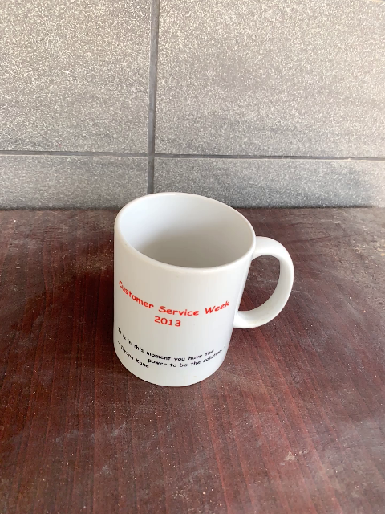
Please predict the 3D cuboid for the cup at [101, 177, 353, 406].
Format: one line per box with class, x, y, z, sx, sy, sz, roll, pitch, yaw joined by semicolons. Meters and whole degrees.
cup;0.008;0.017;0.250;0.120;0.100;0.090;-3;37;-13
